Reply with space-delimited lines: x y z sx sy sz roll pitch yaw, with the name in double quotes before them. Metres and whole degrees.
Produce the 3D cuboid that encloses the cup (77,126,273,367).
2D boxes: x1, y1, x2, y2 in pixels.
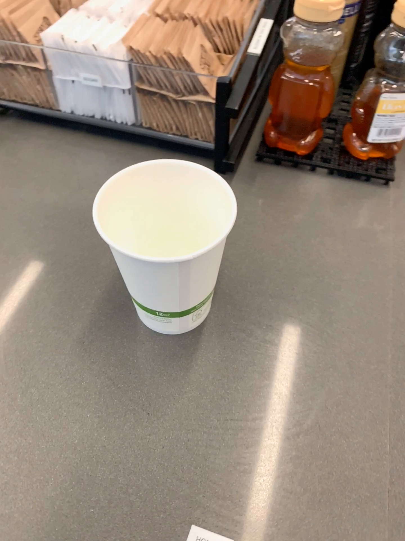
"cup" -0.017 -0.013 0.286 0.080 0.119 0.080 0 52 -1
